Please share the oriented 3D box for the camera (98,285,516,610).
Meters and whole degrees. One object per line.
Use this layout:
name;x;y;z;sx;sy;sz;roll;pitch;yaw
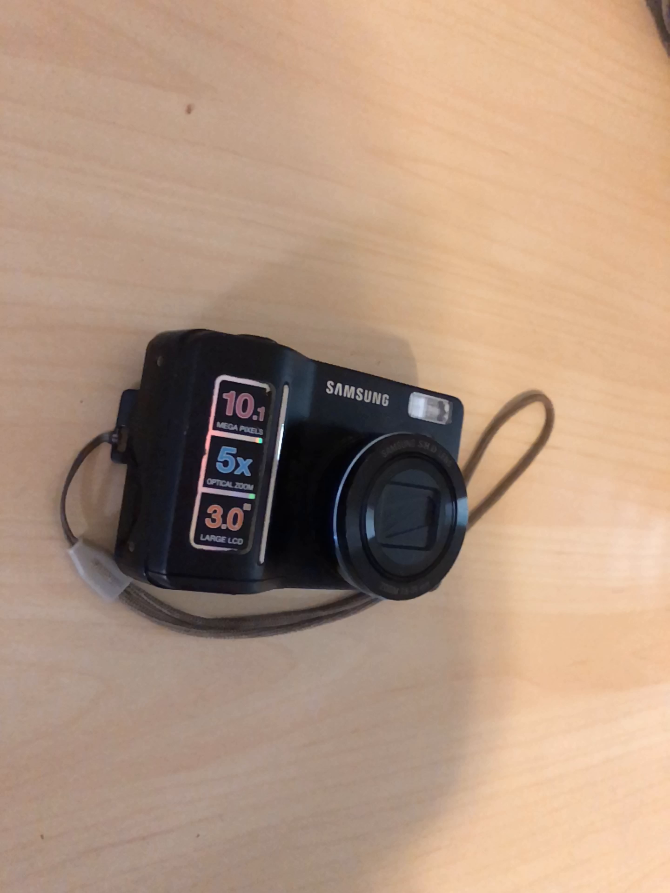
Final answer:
camera;-0.002;0.006;0.210;0.110;0.030;0.070;11;85;-35
